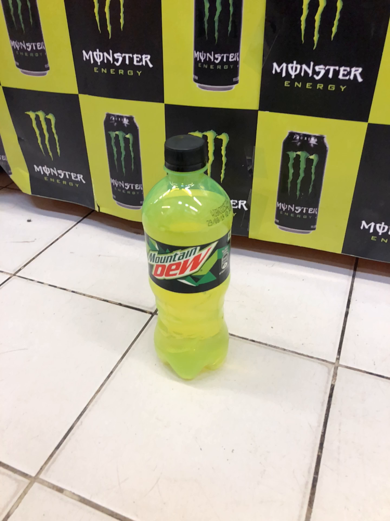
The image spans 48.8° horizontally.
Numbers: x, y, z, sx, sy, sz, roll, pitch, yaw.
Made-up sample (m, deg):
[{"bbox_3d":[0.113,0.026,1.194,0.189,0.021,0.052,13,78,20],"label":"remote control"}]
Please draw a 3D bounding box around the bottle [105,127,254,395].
[{"bbox_3d":[-0.006,0.006,0.350,0.080,0.199,0.070,12,37,19],"label":"bottle"}]
